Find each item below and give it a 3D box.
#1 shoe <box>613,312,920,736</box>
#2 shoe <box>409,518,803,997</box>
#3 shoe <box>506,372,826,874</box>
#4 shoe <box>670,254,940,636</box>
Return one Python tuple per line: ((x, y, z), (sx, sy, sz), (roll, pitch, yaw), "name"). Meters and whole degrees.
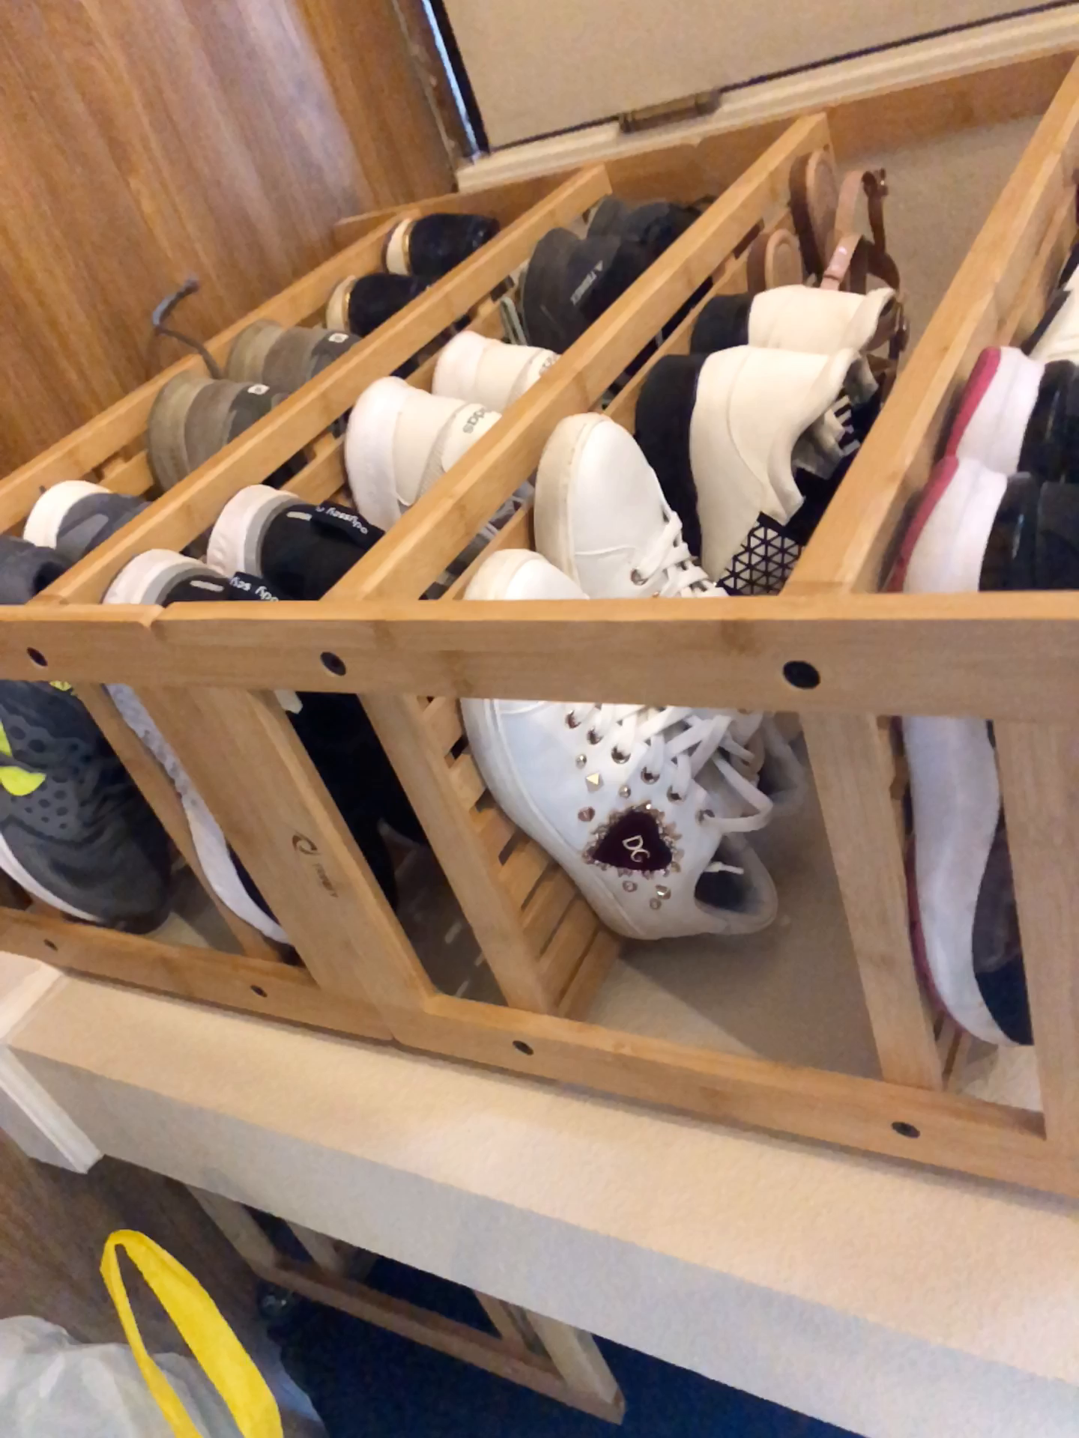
((0.136, -0.105, 0.680), (0.090, 0.113, 0.211), (-51, 133, -43), "shoe")
((0.049, 0.030, 0.601), (0.261, 0.079, 0.100), (56, 47, -43), "shoe")
((0.077, -0.039, 0.615), (0.090, 0.070, 0.251), (-59, 138, -37), "shoe")
((0.175, -0.166, 0.759), (0.090, 0.113, 0.211), (-51, 133, -43), "shoe")
